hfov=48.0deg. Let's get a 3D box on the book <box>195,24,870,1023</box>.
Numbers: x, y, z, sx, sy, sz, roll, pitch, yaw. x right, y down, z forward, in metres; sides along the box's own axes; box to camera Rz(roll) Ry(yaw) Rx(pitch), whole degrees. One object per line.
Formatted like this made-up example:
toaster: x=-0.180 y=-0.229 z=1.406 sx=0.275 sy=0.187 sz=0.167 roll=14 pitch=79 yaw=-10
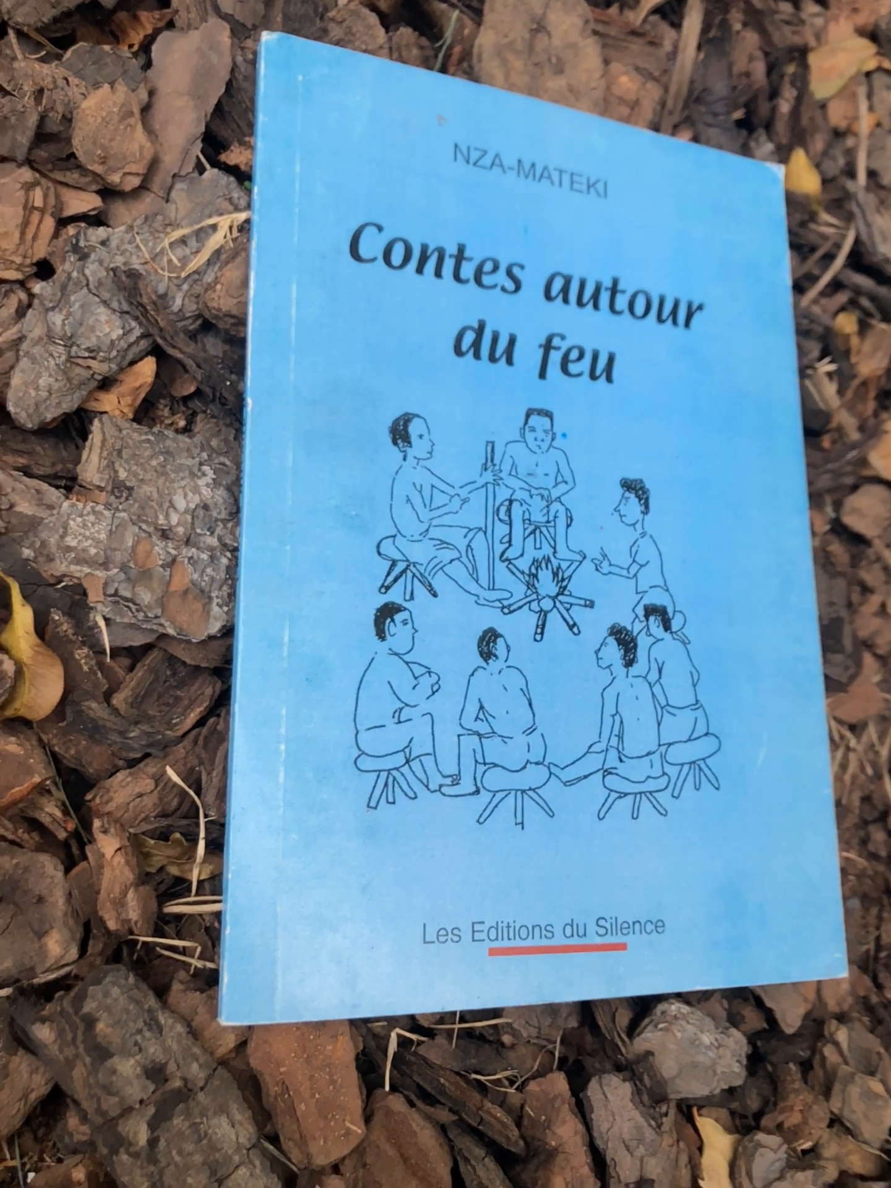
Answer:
book: x=0.024 y=-0.018 z=0.225 sx=0.144 sy=0.015 sz=0.202 roll=5 pitch=77 yaw=-20
